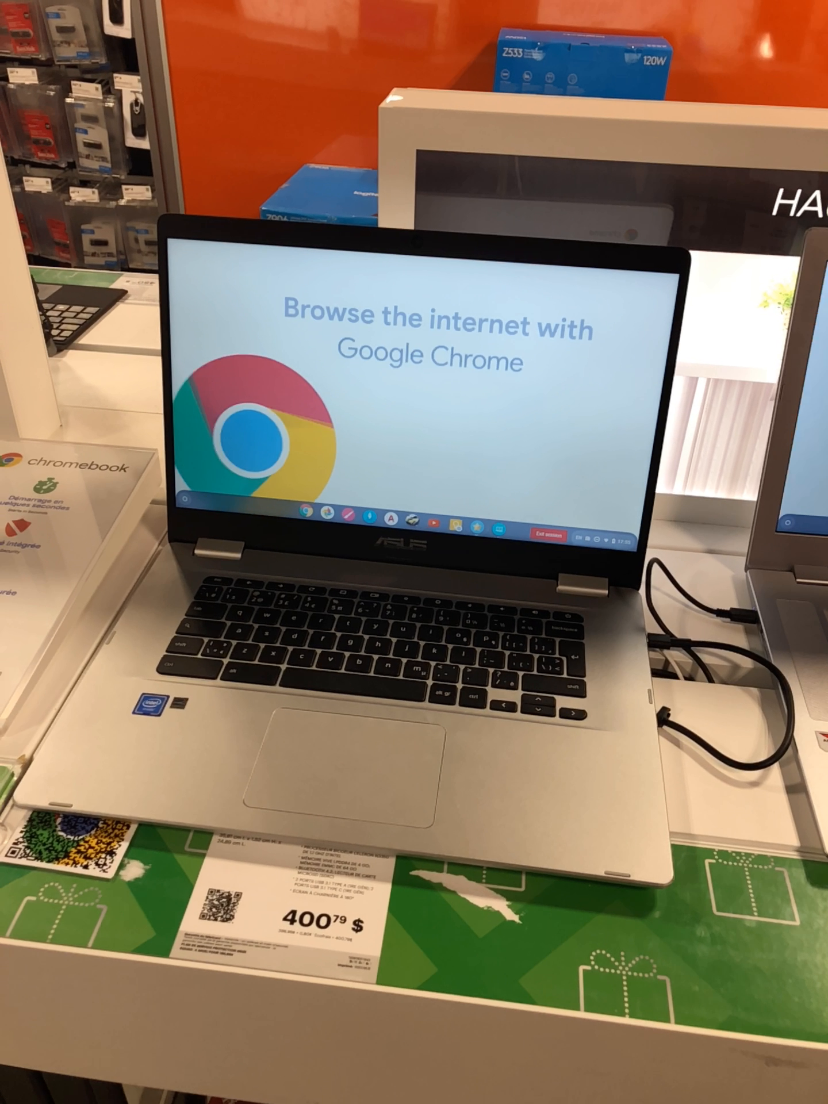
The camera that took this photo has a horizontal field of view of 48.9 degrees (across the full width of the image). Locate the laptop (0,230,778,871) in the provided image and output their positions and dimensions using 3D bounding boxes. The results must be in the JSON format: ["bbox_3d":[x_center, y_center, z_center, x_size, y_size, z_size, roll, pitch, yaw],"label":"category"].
[{"bbox_3d":[-0.017,-0.024,0.523,0.337,0.225,0.287,5,35,6],"label":"laptop"}]
